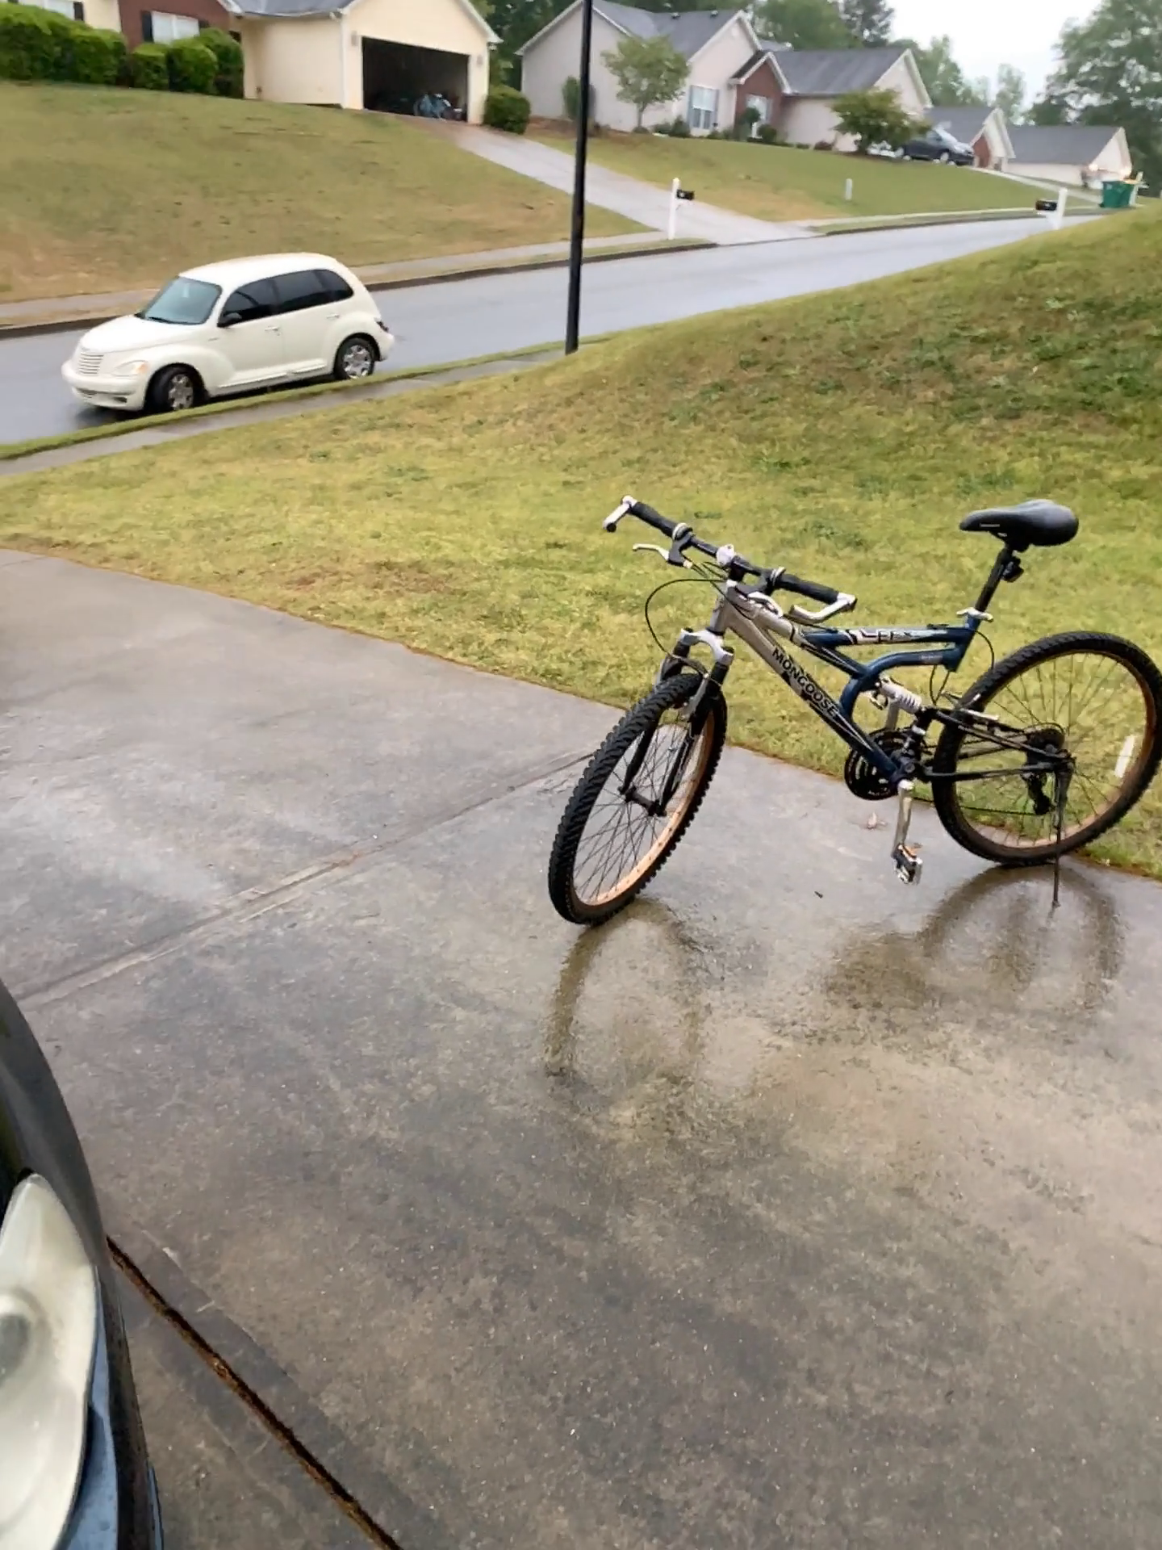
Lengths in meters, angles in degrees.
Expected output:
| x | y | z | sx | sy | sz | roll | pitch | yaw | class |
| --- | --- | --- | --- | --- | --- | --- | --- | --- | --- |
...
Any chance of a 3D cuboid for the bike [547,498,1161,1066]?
| x | y | z | sx | sy | sz | roll | pitch | yaw | class |
| --- | --- | --- | --- | --- | --- | --- | --- | --- | --- |
| 0.771 | -0.075 | 2.715 | 1.688 | 0.948 | 0.548 | -7 | 27 | -22 | bike |
